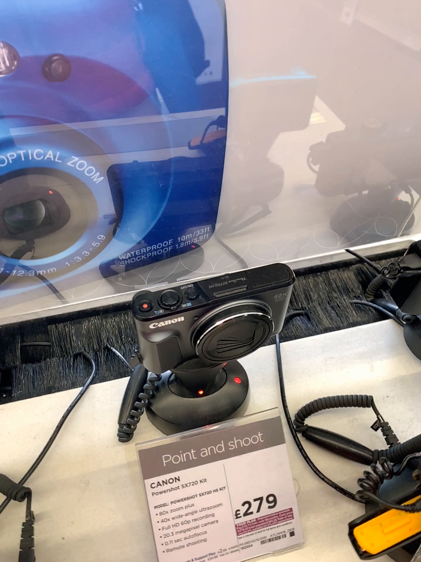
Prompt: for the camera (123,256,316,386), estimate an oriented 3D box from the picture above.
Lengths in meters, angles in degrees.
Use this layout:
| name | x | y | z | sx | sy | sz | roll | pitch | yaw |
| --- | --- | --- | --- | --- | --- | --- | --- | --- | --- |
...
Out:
| name | x | y | z | sx | sy | sz | roll | pitch | yaw |
| --- | --- | --- | --- | --- | --- | --- | --- | --- | --- |
| camera | 0.005 | 0.027 | 0.284 | 0.113 | 0.061 | 0.031 | -13 | 52 | -12 |
